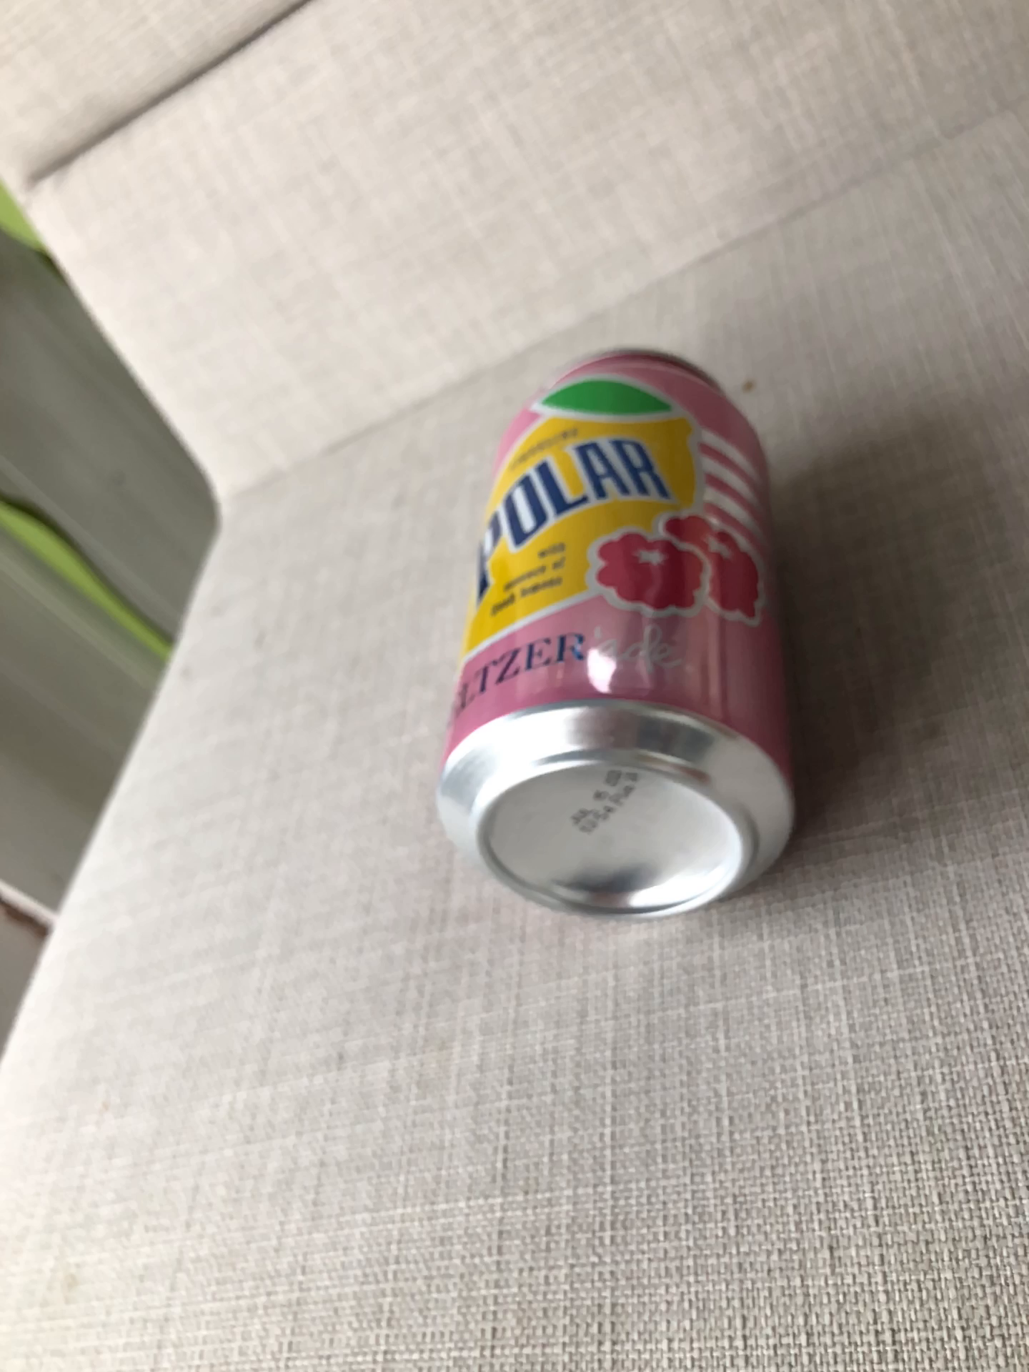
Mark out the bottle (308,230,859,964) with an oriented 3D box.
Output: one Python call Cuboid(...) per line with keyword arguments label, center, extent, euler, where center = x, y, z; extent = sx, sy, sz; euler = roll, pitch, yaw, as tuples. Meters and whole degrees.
Cuboid(label="bottle", center=(0.017, -0.020, 0.238), extent=(0.070, 0.065, 0.123), euler=(-19, 42, 25))
